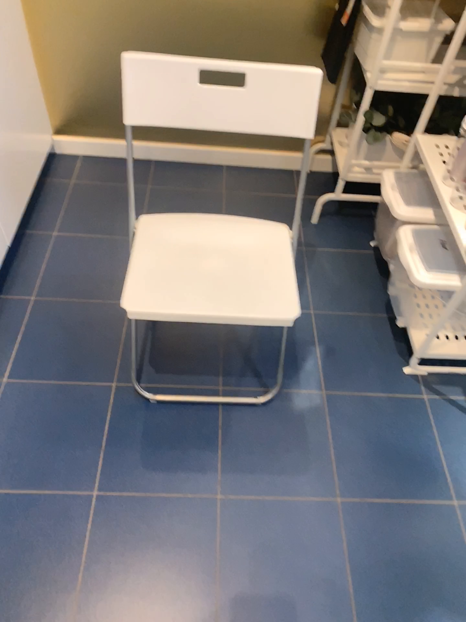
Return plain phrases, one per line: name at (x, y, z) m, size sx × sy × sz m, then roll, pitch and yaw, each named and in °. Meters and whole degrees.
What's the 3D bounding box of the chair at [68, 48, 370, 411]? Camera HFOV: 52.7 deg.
chair at (-0.039, -0.141, 1.132) m, size 0.460 × 0.707 × 0.452 m, roll 4°, pitch 51°, yaw -3°
